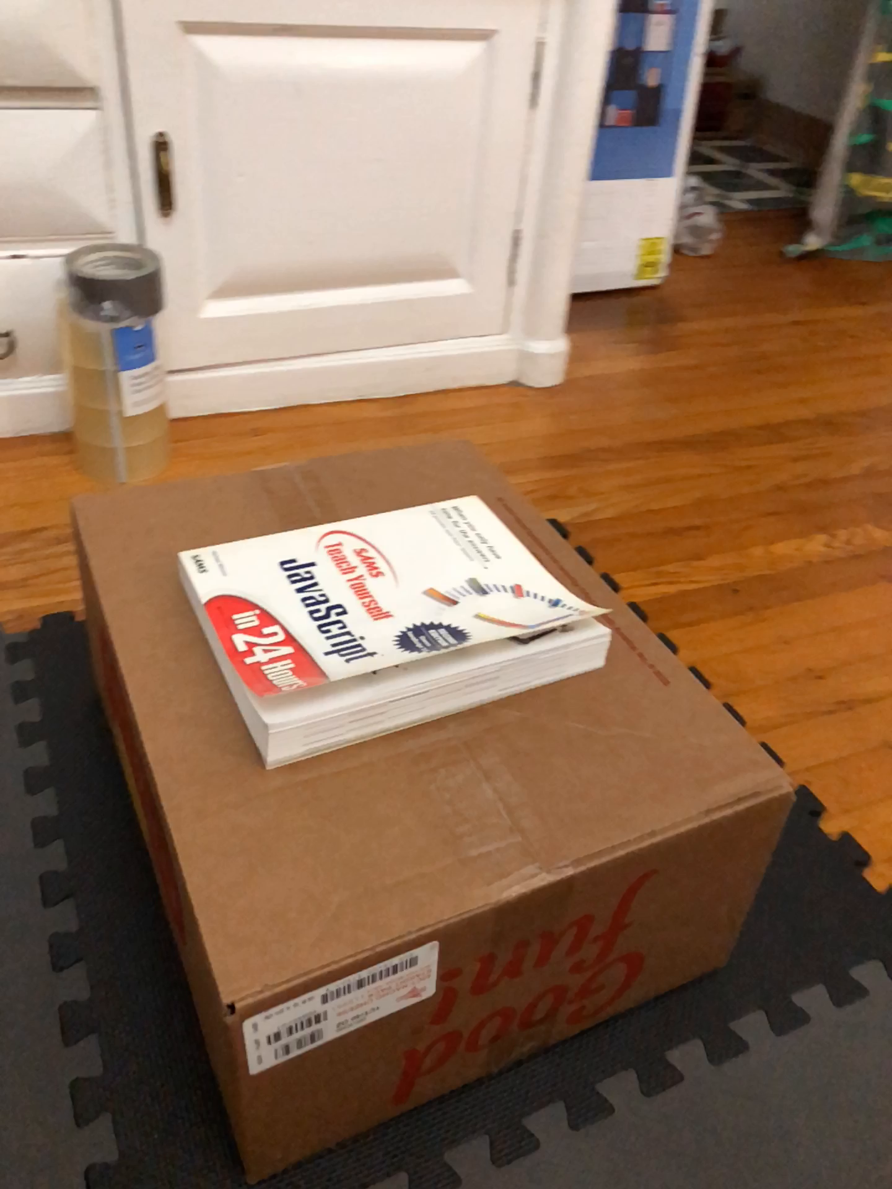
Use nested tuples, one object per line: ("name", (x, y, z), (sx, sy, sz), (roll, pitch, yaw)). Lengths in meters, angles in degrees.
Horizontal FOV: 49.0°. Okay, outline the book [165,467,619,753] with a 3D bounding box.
("book", (-0.041, -0.006, 0.660), (0.241, 0.030, 0.201), (-13, 42, -26))
